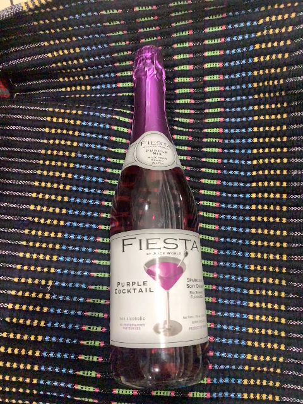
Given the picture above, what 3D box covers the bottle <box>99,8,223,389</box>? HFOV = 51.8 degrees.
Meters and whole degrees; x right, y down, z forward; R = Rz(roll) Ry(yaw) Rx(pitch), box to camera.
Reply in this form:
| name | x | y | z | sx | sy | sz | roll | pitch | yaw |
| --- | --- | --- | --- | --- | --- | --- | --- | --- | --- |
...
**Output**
| name | x | y | z | sx | sy | sz | roll | pitch | yaw |
| --- | --- | --- | --- | --- | --- | --- | --- | --- | --- |
| bottle | 0.000 | -0.024 | 0.293 | 0.080 | 0.080 | 0.330 | -1 | 71 | -2 |
